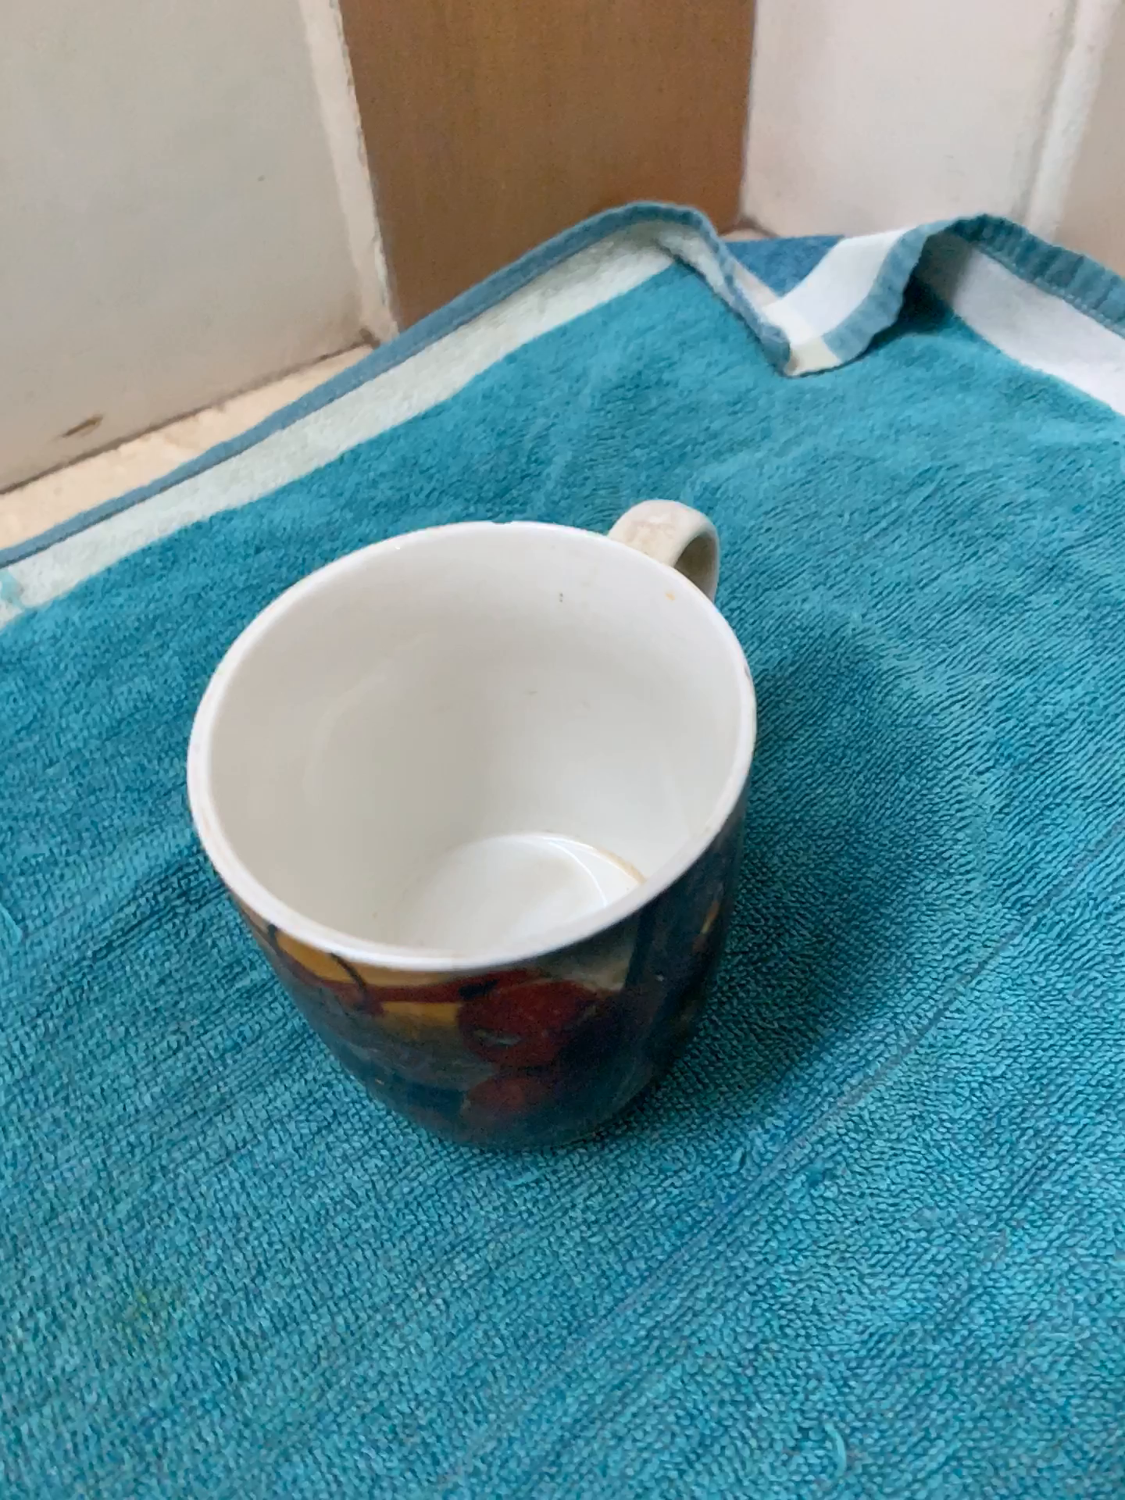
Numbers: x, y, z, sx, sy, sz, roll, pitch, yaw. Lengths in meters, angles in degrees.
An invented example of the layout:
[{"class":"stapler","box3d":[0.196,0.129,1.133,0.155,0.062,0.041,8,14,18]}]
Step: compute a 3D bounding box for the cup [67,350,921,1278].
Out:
[{"class":"cup","box3d":[-0.001,0.007,0.214,0.080,0.089,0.121,22,55,21]}]
